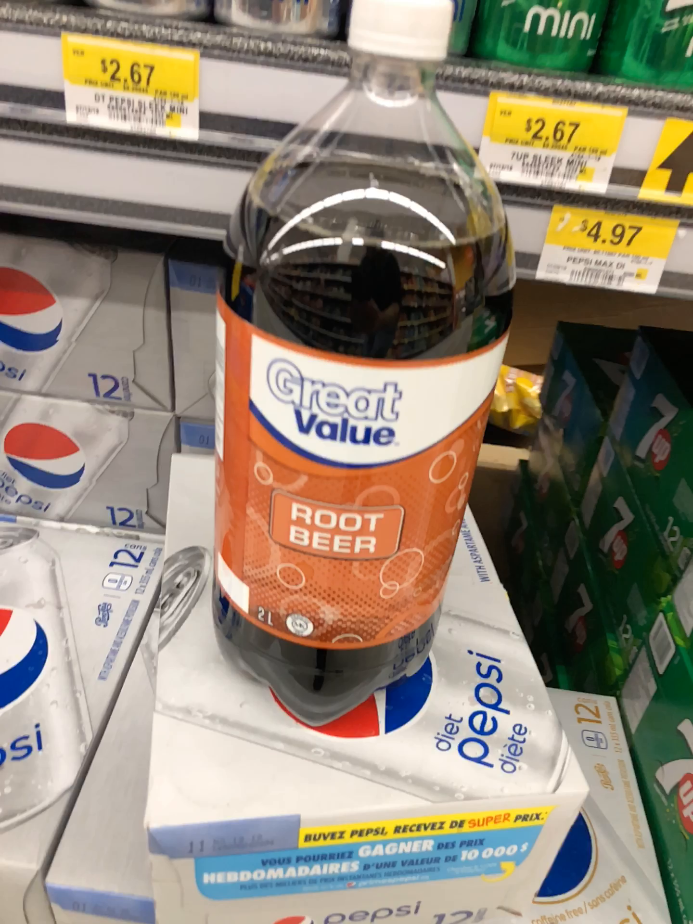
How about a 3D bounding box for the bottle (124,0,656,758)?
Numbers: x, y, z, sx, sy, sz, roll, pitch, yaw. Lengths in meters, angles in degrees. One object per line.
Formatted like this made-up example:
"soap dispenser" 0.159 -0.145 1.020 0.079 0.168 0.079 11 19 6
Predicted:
"bottle" 0.003 -0.027 0.296 0.120 0.268 0.121 5 36 -3
